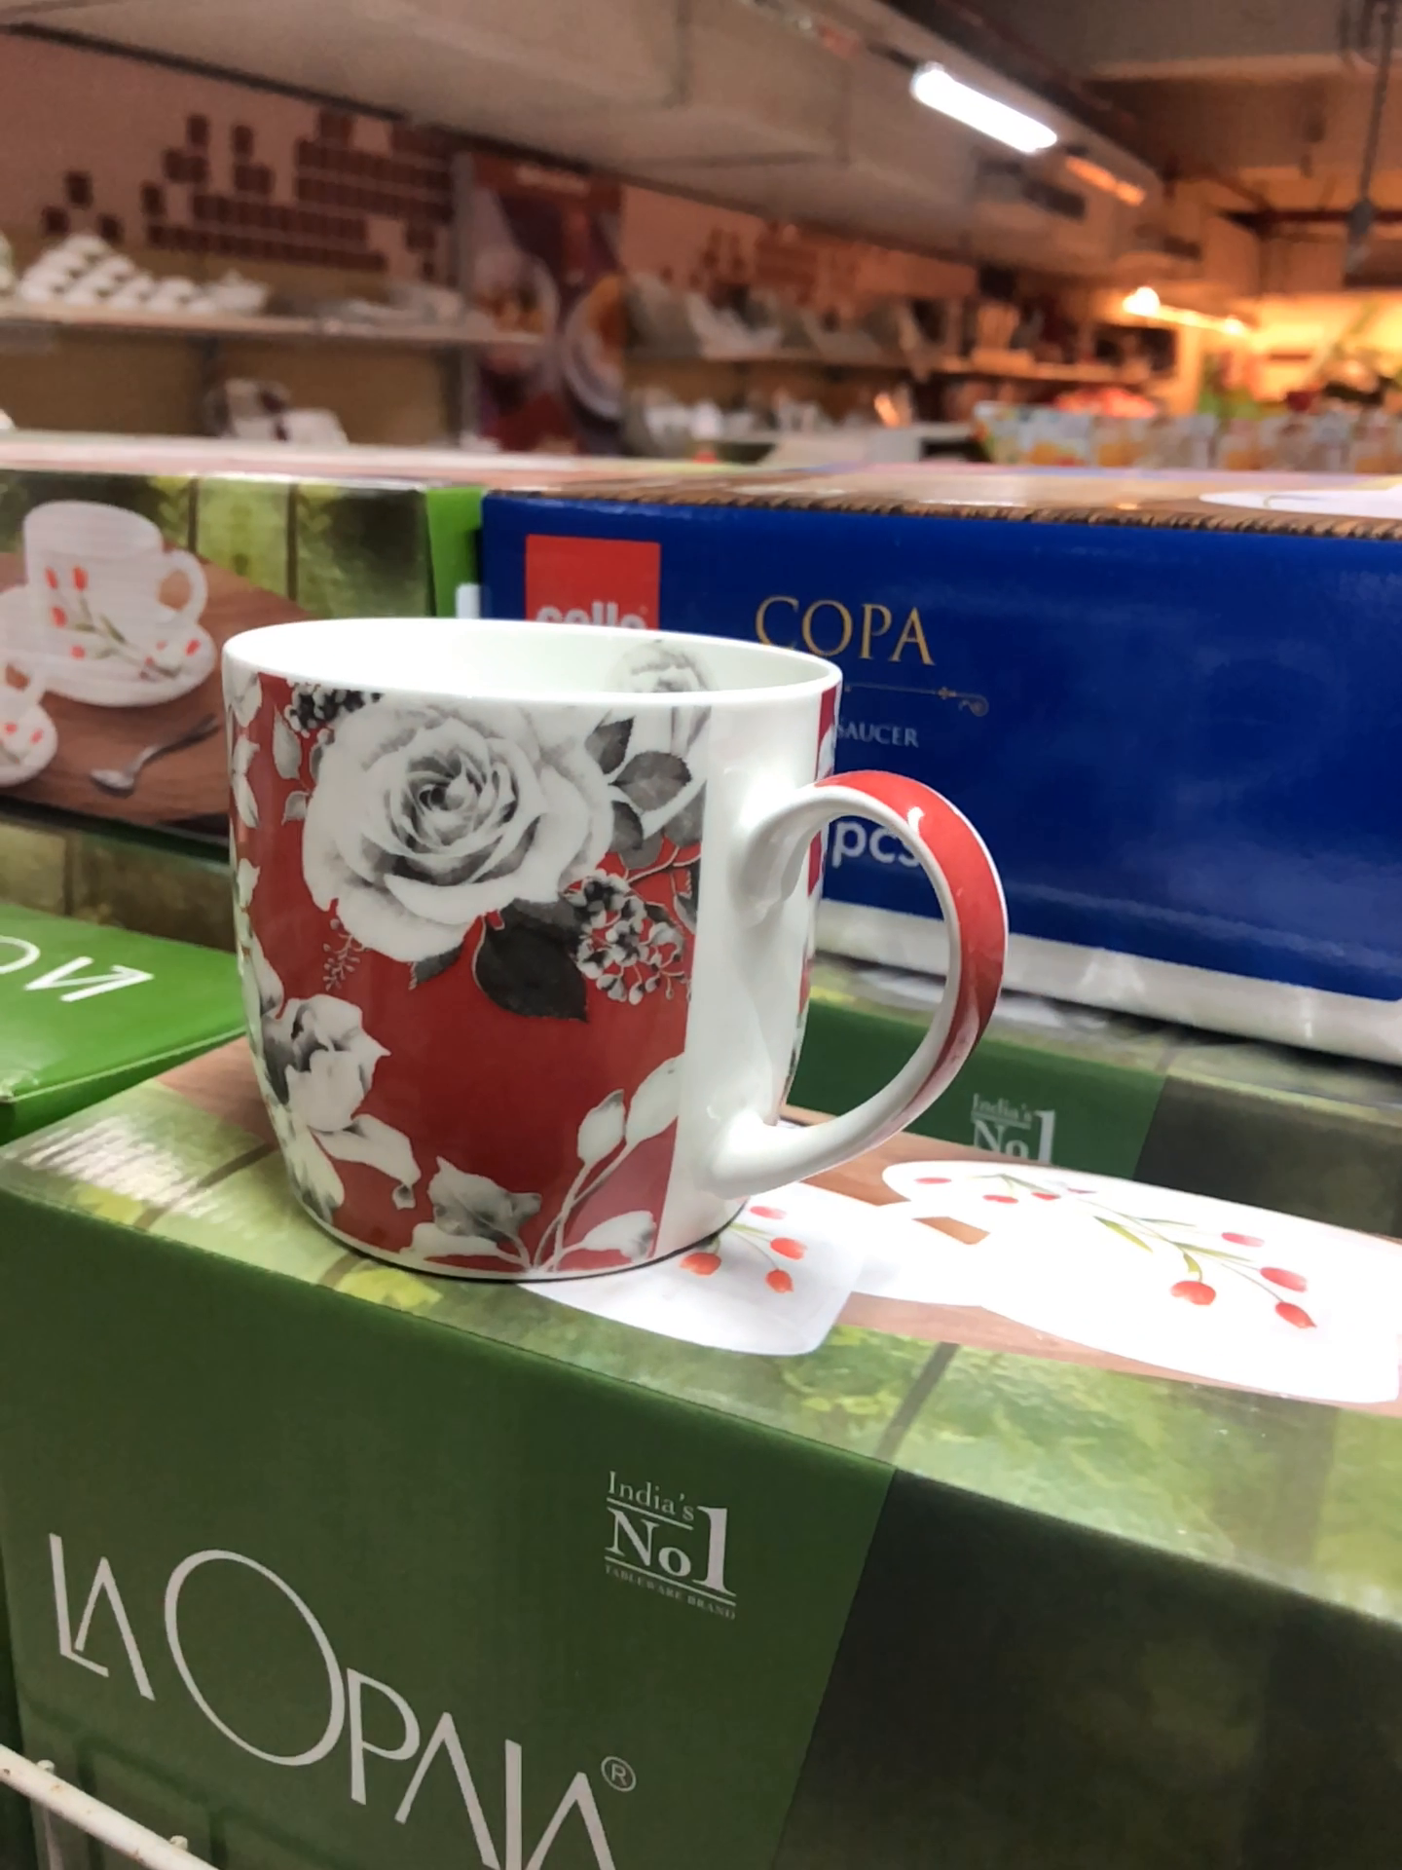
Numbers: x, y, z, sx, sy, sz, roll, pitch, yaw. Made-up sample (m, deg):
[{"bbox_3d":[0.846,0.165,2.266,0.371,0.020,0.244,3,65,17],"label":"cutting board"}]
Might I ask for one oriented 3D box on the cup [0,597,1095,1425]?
[{"bbox_3d":[-0.018,-0.004,0.212,0.110,0.070,0.090,12,17,28],"label":"cup"}]
